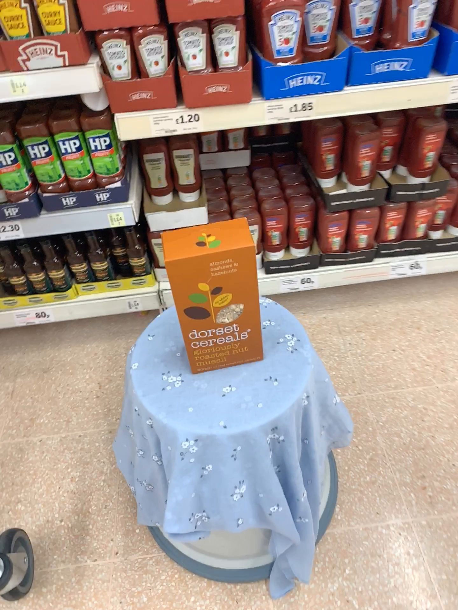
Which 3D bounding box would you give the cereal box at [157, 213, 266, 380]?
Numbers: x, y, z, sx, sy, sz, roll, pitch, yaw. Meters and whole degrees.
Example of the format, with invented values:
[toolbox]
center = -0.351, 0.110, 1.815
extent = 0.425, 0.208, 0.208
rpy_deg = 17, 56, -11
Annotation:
[cereal box]
center = -0.017, -0.003, 0.652
extent = 0.120, 0.228, 0.071
rpy_deg = -10, 44, -4
